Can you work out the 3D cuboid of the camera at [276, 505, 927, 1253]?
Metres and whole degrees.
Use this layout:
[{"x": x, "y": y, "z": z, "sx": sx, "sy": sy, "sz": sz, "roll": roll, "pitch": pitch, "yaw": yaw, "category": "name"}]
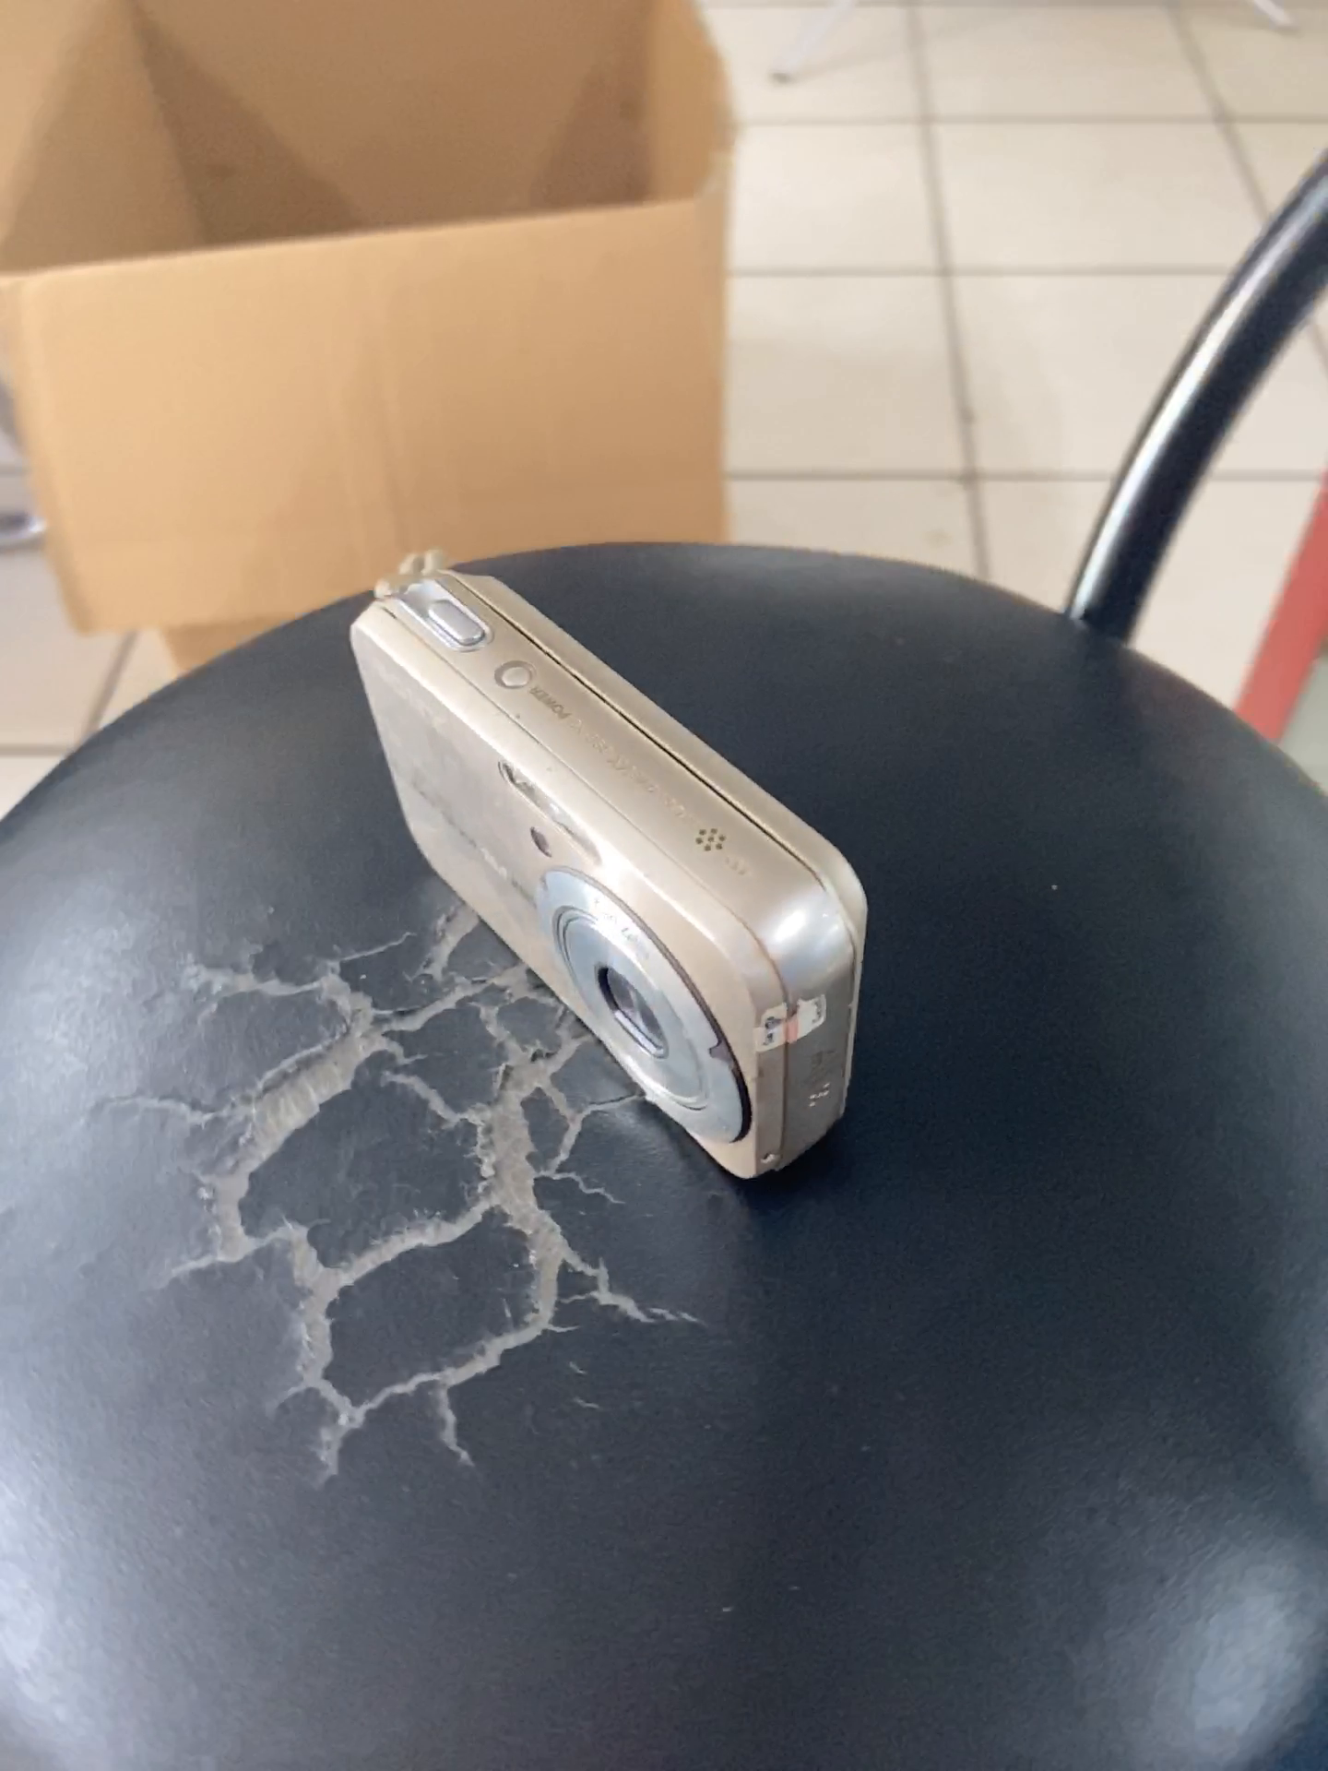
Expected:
[{"x": -0.013, "y": -0.004, "z": 0.219, "sx": 0.030, "sy": 0.060, "sz": 0.110, "roll": -34, "pitch": 58, "yaw": -22, "category": "camera"}]
